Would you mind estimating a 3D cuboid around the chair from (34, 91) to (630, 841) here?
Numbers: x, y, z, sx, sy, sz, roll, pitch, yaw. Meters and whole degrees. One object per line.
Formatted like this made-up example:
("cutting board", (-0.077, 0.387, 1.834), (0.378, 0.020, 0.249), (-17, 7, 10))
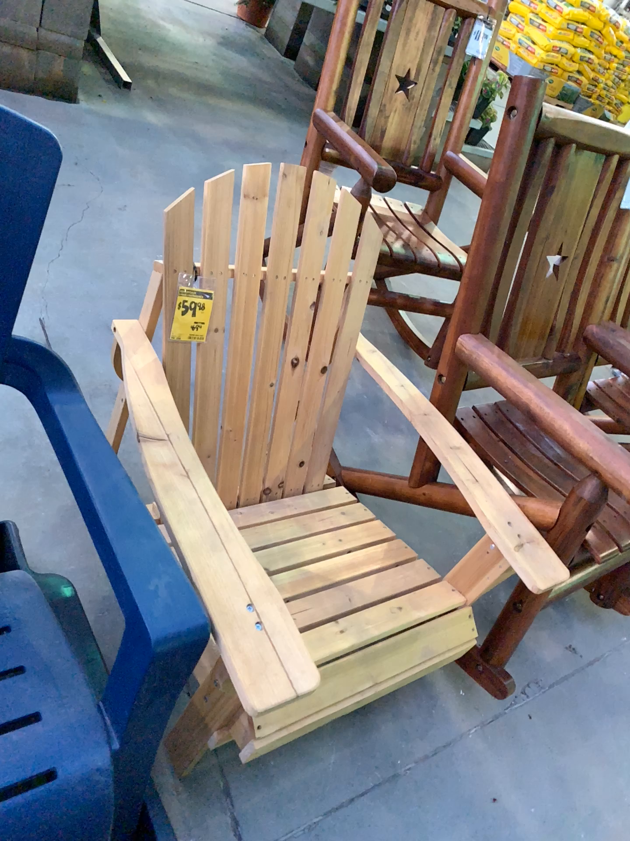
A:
("chair", (-0.008, 0.075, 1.284), (0.729, 0.886, 0.893), (-7, 52, -38))
